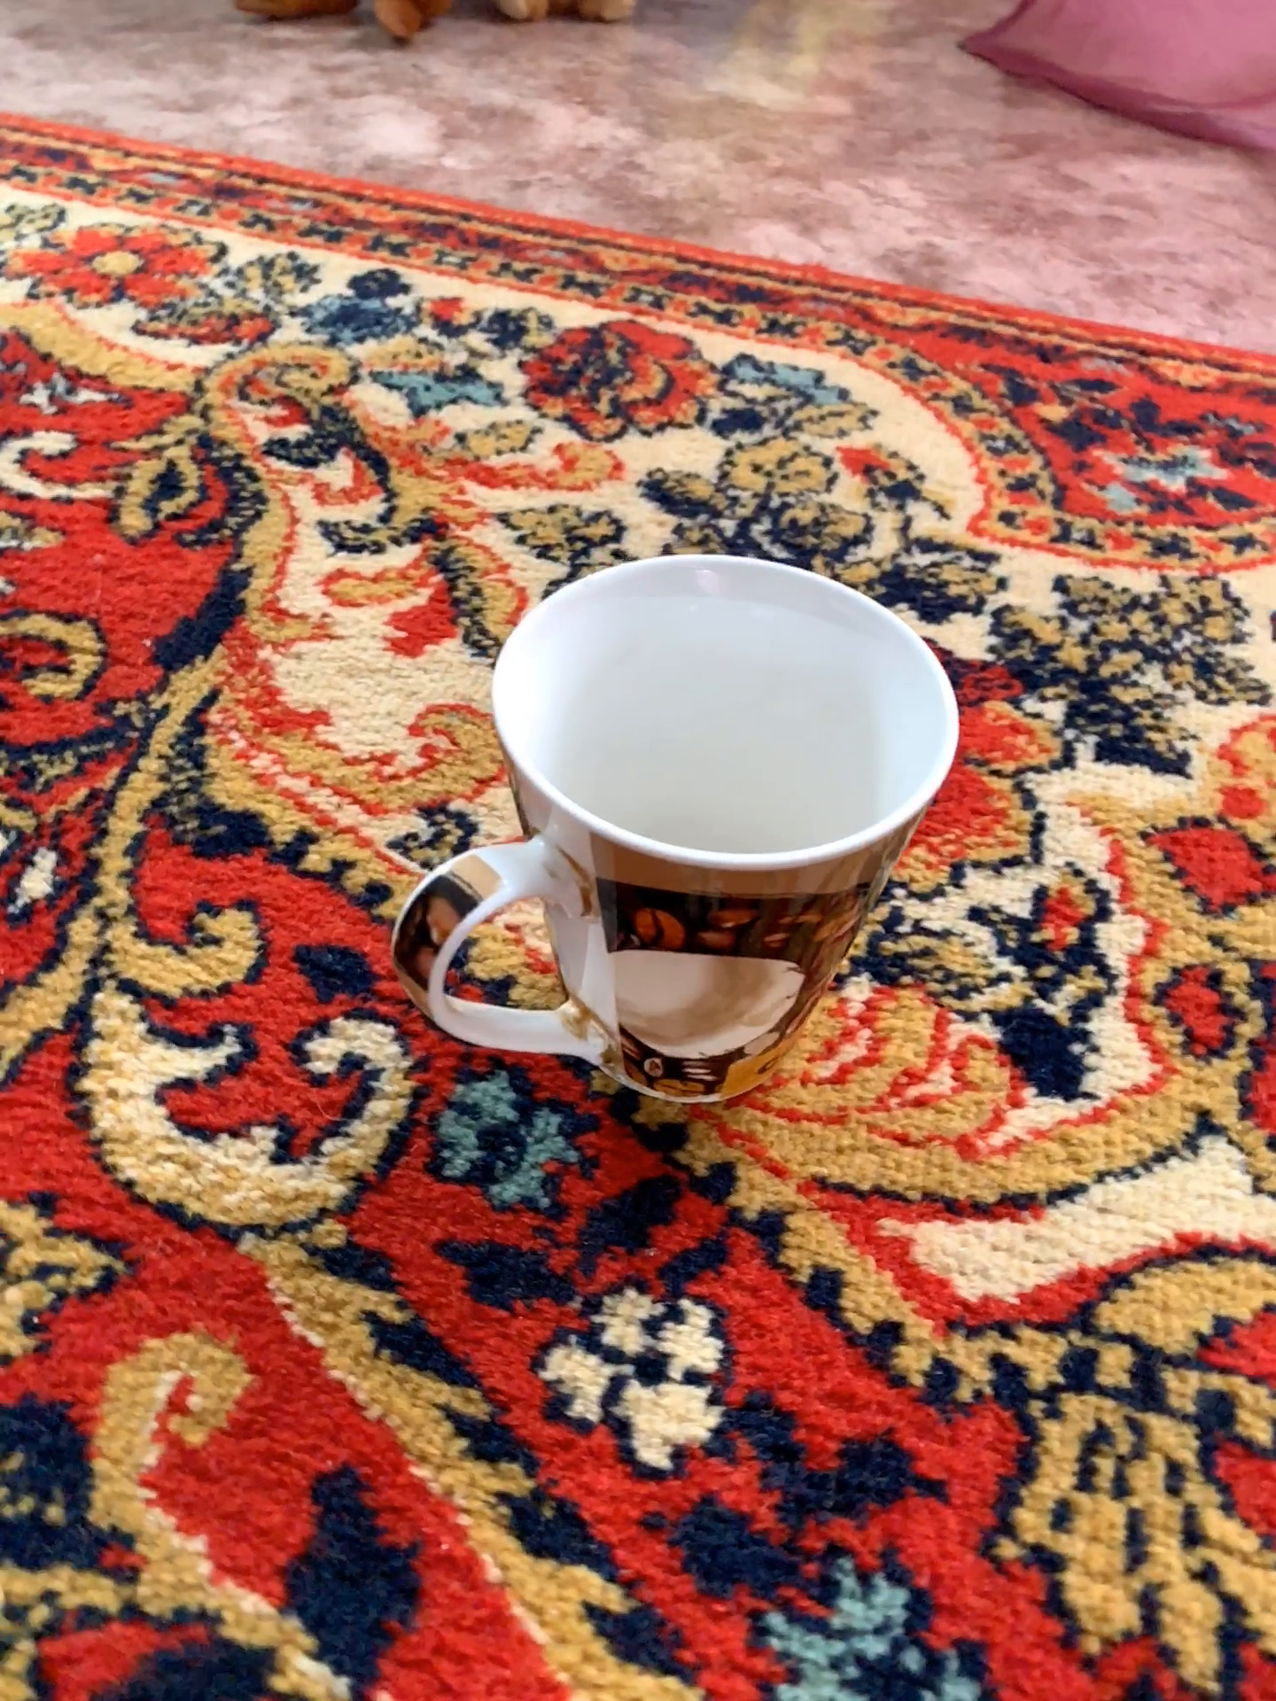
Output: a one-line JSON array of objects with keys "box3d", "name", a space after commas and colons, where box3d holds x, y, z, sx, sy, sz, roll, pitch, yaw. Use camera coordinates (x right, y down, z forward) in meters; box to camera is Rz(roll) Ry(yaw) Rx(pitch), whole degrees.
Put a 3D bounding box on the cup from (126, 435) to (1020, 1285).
[{"box3d": [-0.011, -0.005, 0.229, 0.110, 0.079, 0.080, -27, 53, -28], "name": "cup"}]
